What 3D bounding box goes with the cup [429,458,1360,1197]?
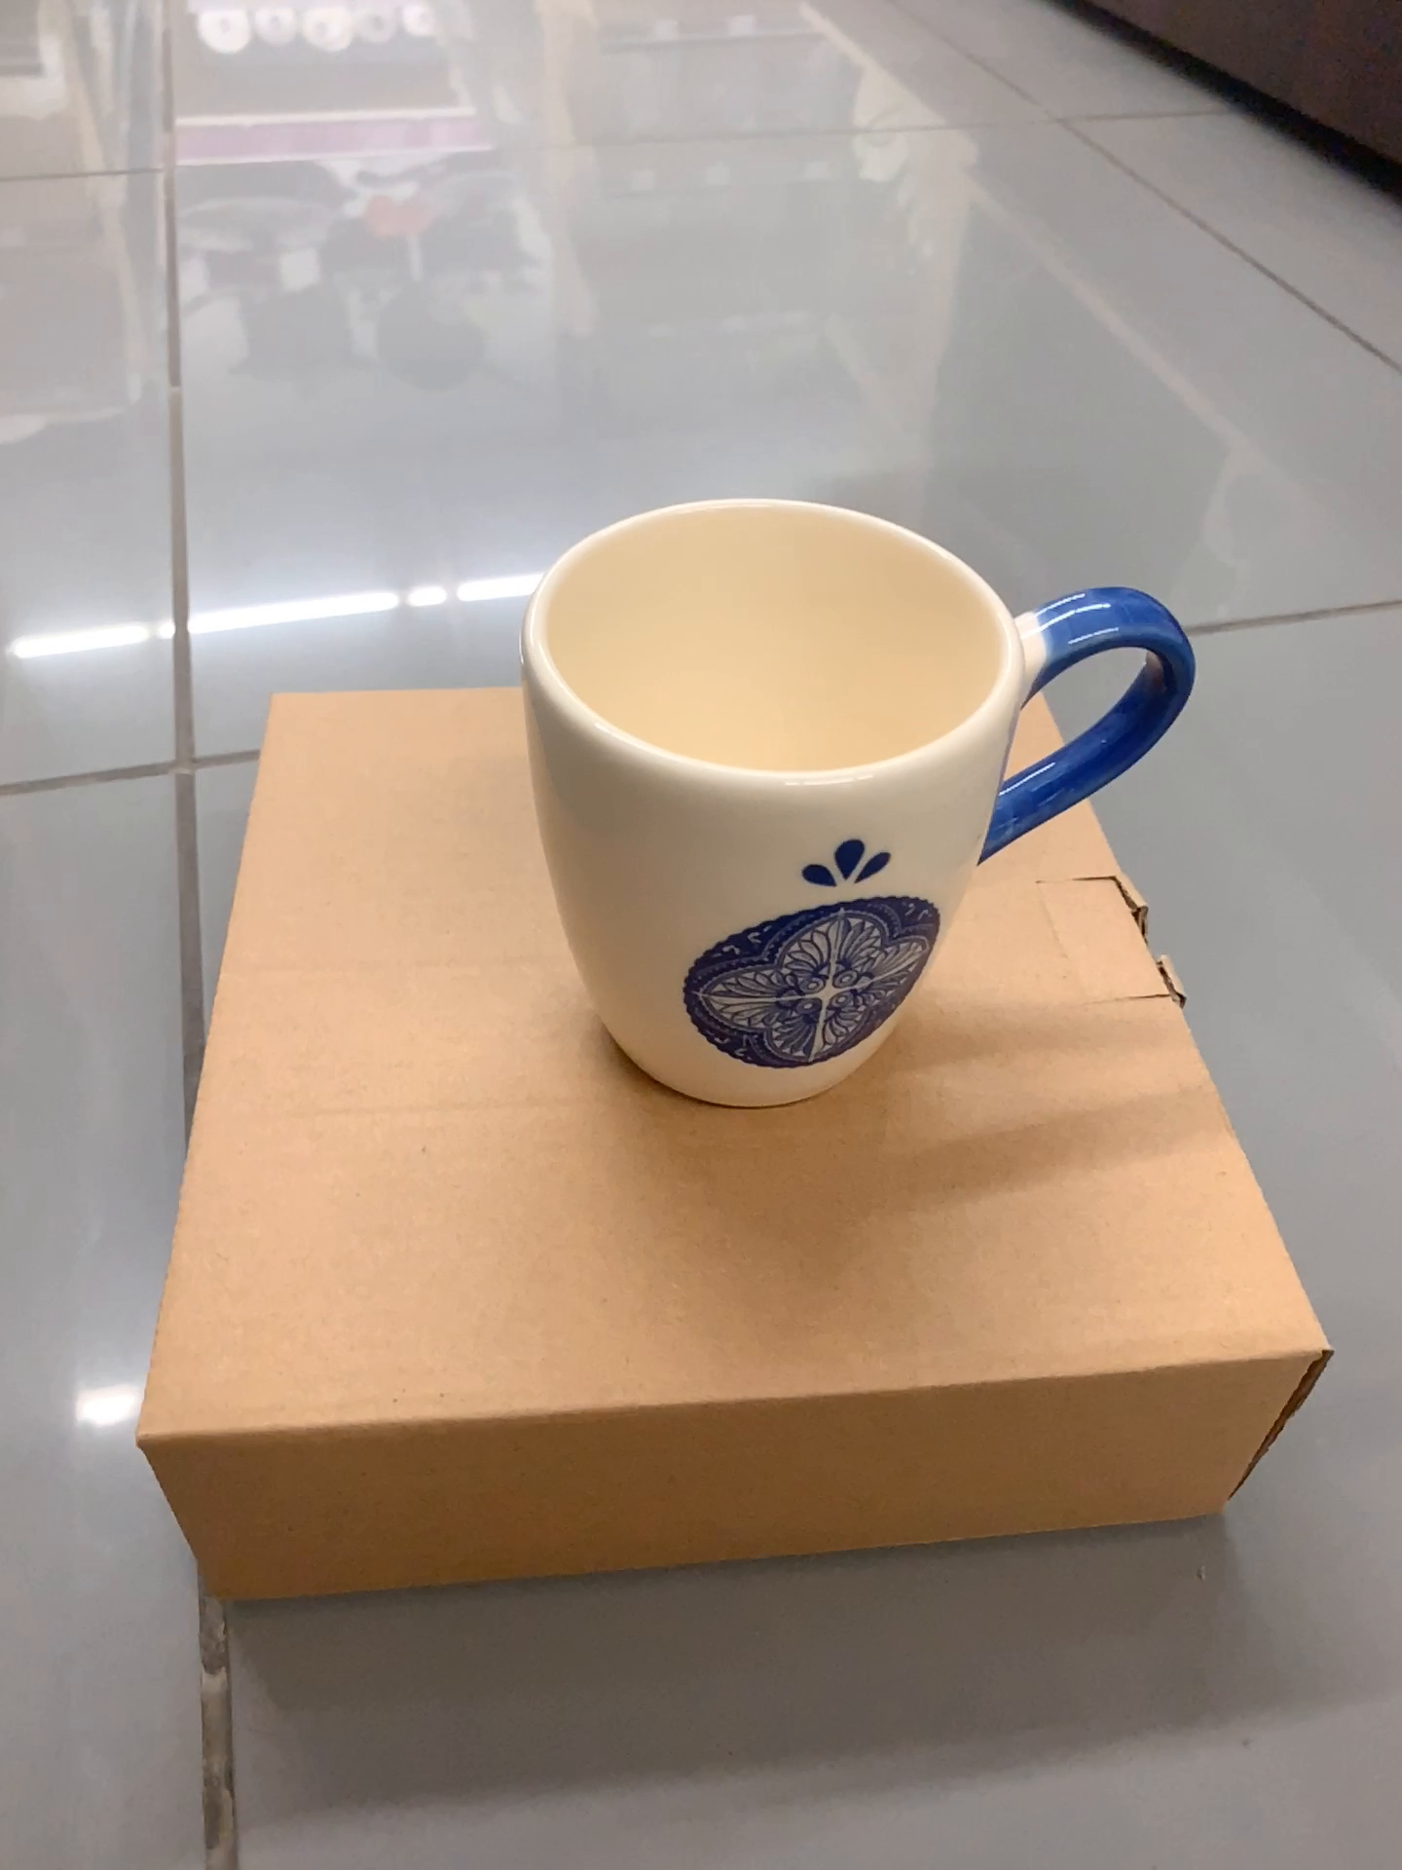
[{"bbox_3d":[0.027,-0.024,0.284,0.140,0.090,0.090,-9,46,-11],"label":"cup"}]
